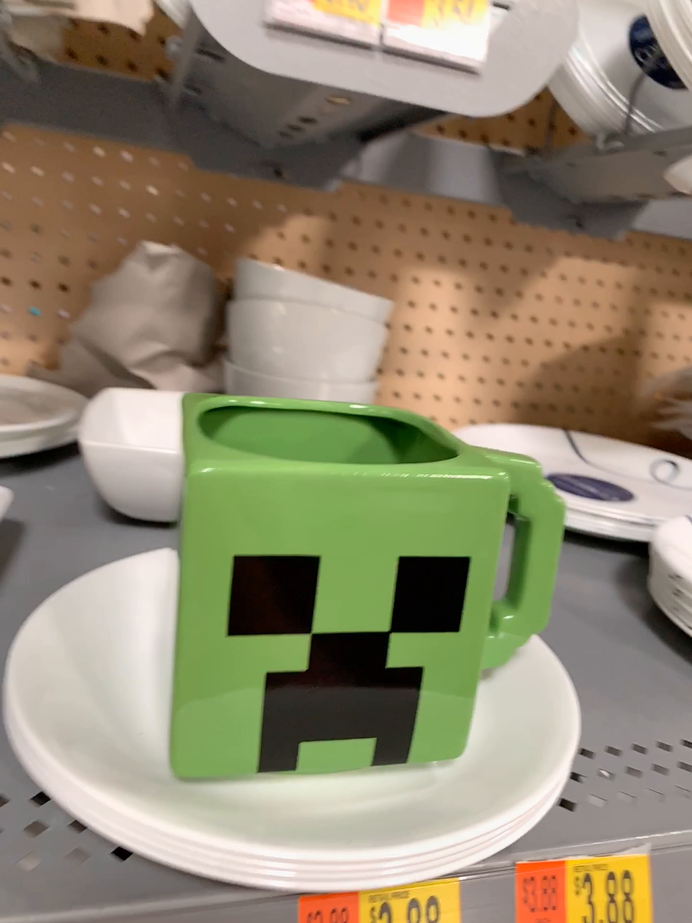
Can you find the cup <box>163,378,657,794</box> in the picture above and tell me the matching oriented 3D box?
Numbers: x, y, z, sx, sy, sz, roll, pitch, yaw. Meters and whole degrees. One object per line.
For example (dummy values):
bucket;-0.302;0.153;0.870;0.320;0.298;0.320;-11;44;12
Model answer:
cup;0.009;0.037;0.268;0.142;0.104;0.106;4;16;-15
